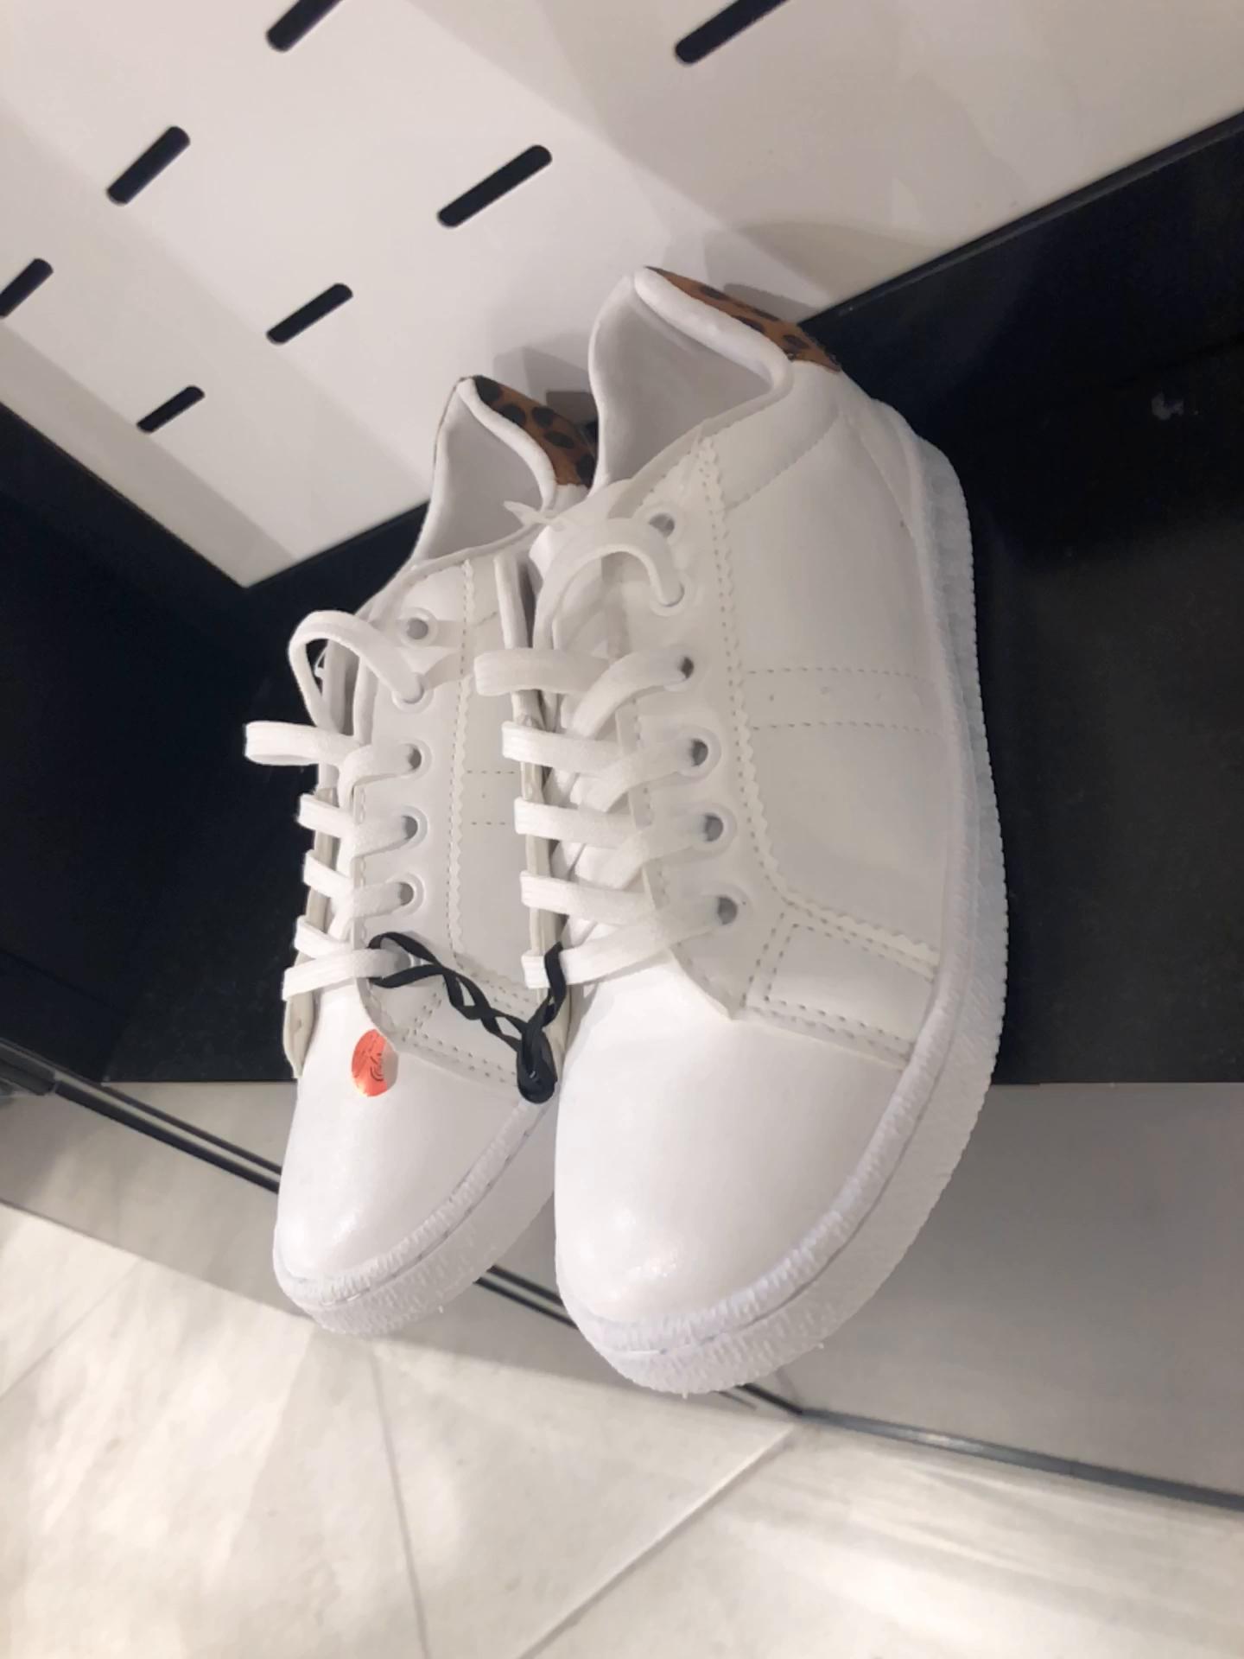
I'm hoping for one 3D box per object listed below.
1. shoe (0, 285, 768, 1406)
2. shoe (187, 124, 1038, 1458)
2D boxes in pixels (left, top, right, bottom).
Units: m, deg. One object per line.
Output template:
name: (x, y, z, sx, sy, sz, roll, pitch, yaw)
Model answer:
shoe: (-0.048, 0.004, 0.325, 0.090, 0.099, 0.220, -13, 54, 42)
shoe: (0.013, -0.008, 0.270, 0.090, 0.099, 0.221, -19, 51, 39)
